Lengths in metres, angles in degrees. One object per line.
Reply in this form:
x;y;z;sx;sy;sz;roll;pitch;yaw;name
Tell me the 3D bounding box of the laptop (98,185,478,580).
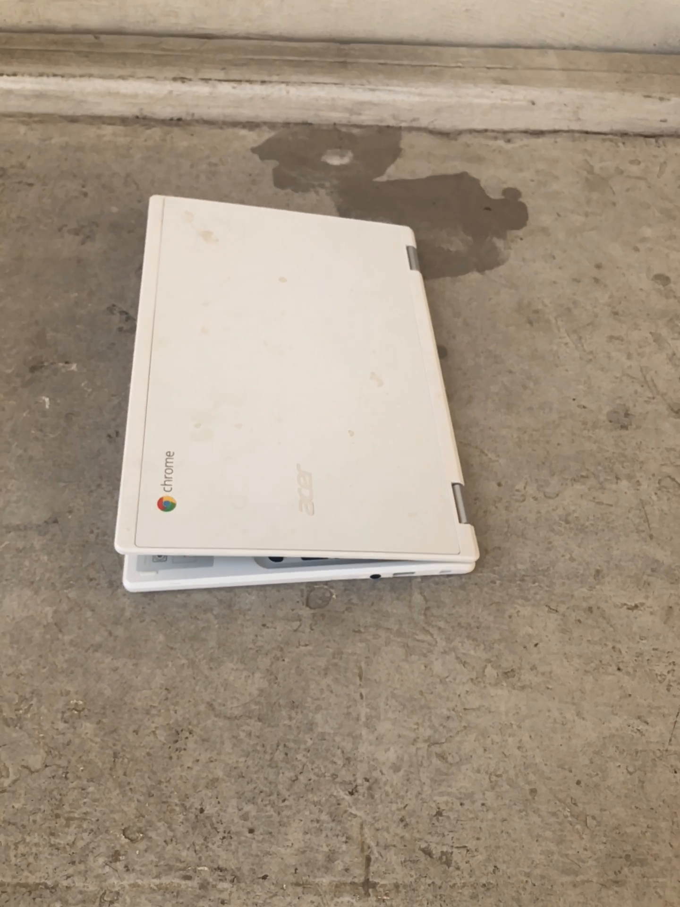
-0.034;-0.062;0.477;0.190;0.046;0.280;-1;55;-6;laptop
